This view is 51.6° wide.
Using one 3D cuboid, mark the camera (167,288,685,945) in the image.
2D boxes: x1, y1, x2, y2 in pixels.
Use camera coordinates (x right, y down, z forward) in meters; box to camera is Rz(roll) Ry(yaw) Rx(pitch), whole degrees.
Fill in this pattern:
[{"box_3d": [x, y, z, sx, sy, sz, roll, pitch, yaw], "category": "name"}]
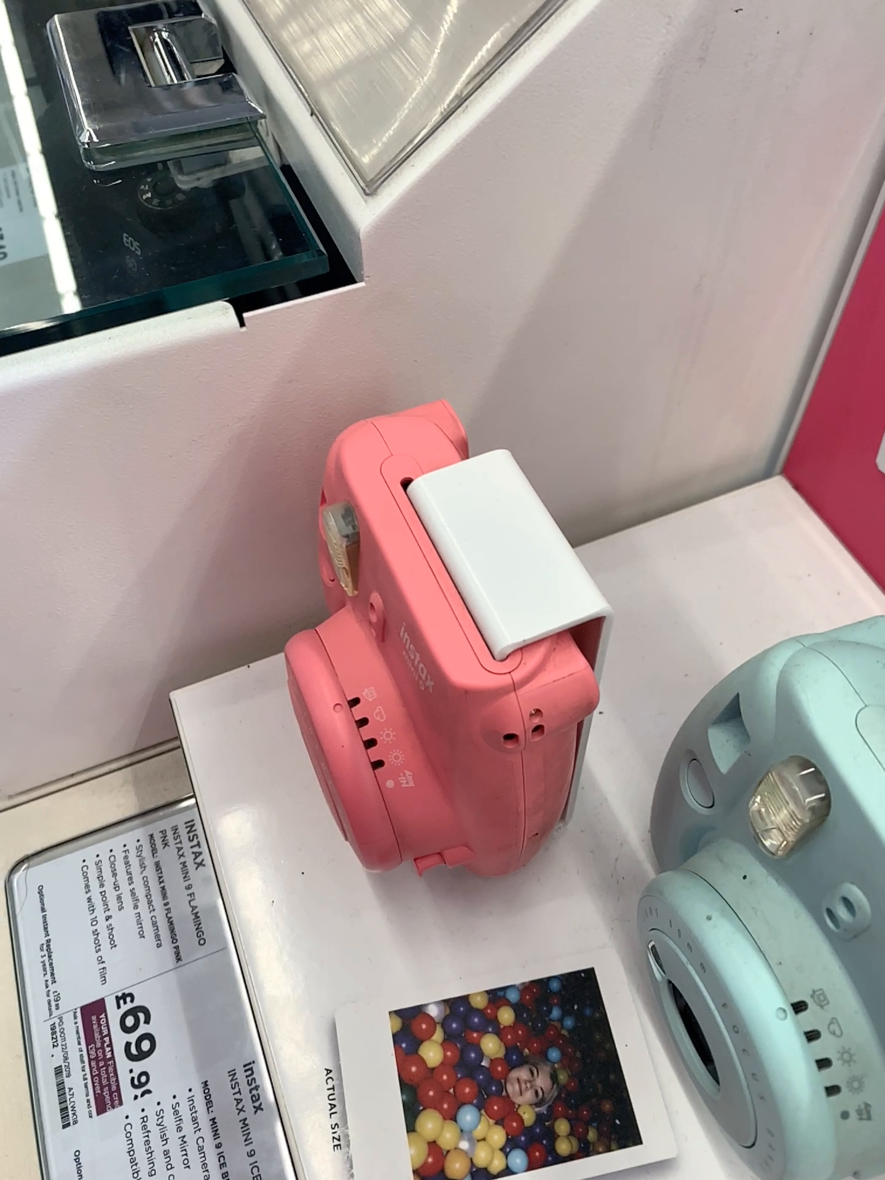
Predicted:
[{"box_3d": [-0.009, 0.010, 0.257, 0.080, 0.119, 0.121, -19, 56, -11], "category": "camera"}]
